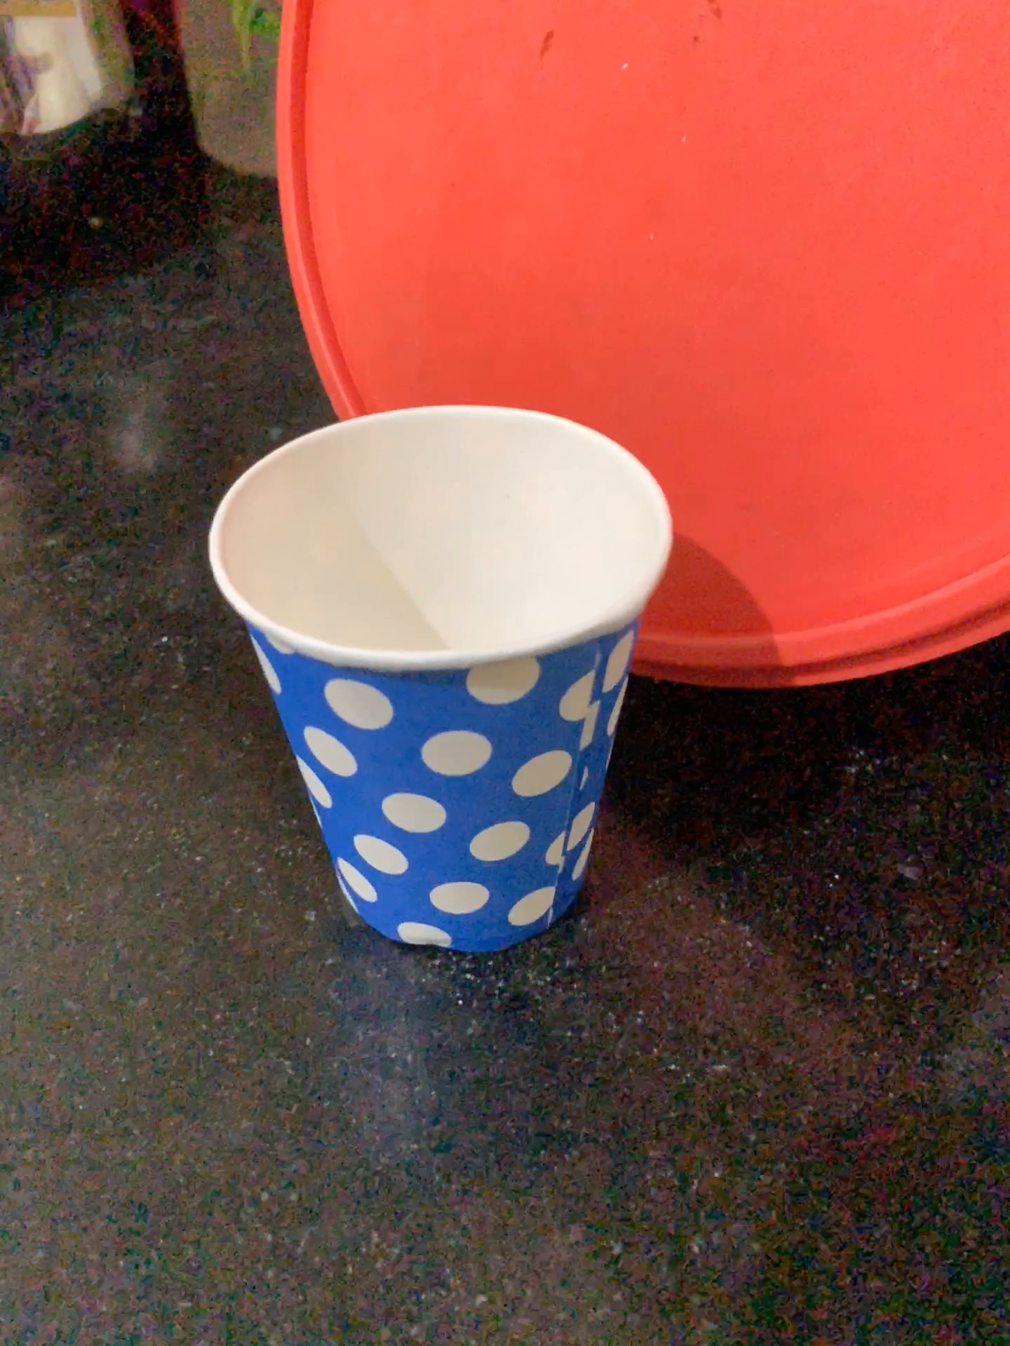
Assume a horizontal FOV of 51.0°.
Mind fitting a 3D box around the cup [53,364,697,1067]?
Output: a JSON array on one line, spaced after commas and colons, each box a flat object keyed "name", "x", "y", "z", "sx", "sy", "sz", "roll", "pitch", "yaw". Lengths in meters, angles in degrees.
[{"name": "cup", "x": -0.015, "y": 0.004, "z": 0.184, "sx": 0.070, "sy": 0.079, "sz": 0.070, "roll": 0, "pitch": 41, "yaw": 0}]
